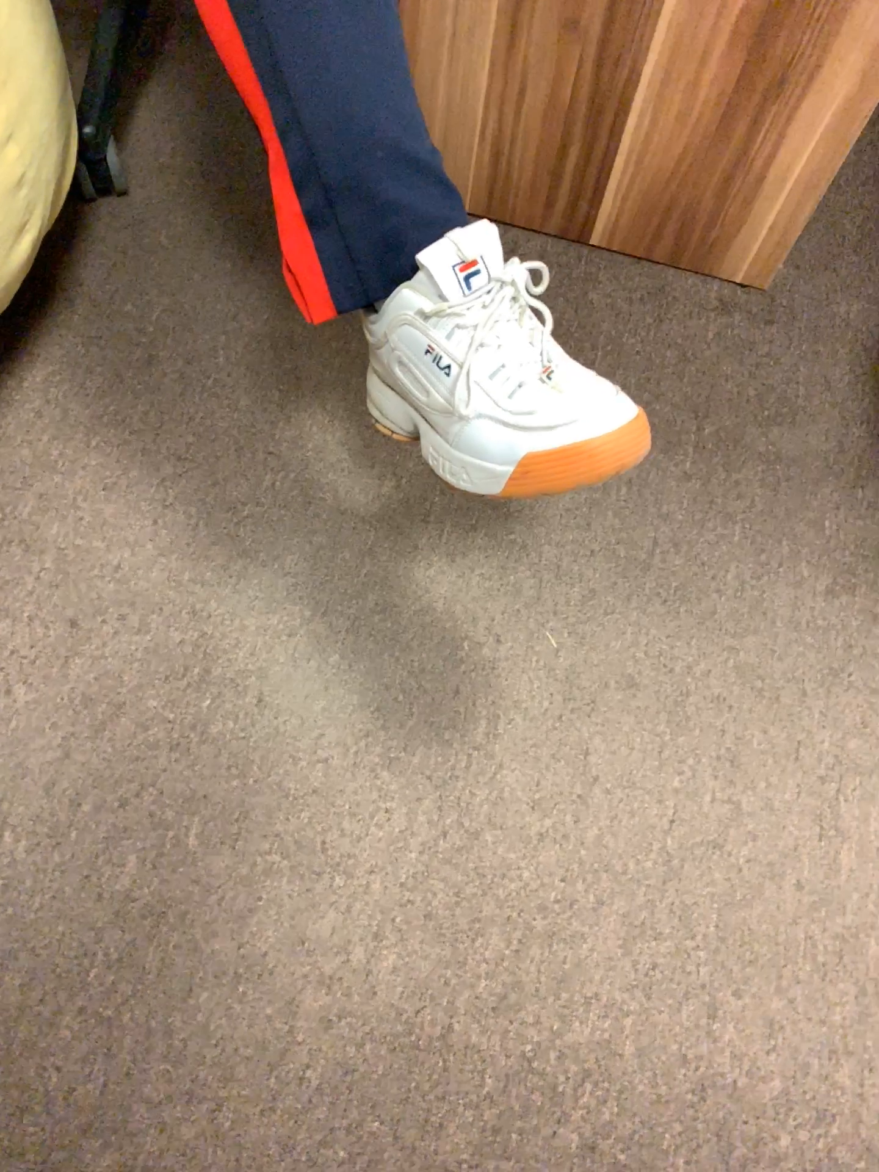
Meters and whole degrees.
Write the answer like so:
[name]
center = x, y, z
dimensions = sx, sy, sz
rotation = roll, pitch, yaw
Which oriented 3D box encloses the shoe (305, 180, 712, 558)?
[shoe]
center = 0.035, -0.154, 0.584
dimensions = 0.130, 0.130, 0.230
rotation = -28, 49, -24
